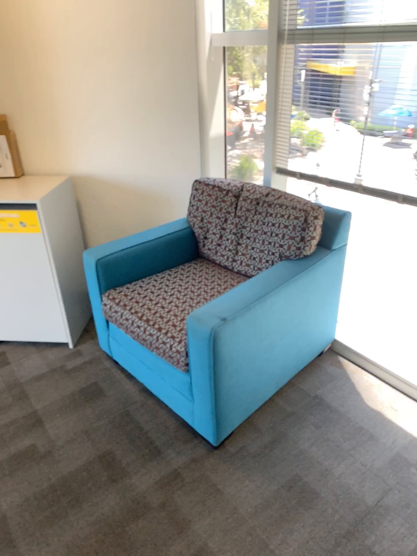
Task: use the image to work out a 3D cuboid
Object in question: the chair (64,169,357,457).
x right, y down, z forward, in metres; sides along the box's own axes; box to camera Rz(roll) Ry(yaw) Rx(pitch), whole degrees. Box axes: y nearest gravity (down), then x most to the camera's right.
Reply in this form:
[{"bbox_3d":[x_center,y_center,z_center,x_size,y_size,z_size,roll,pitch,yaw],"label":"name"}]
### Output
[{"bbox_3d":[0.012,0.040,2.050,0.911,0.805,0.934,-26,37,-36],"label":"chair"}]
